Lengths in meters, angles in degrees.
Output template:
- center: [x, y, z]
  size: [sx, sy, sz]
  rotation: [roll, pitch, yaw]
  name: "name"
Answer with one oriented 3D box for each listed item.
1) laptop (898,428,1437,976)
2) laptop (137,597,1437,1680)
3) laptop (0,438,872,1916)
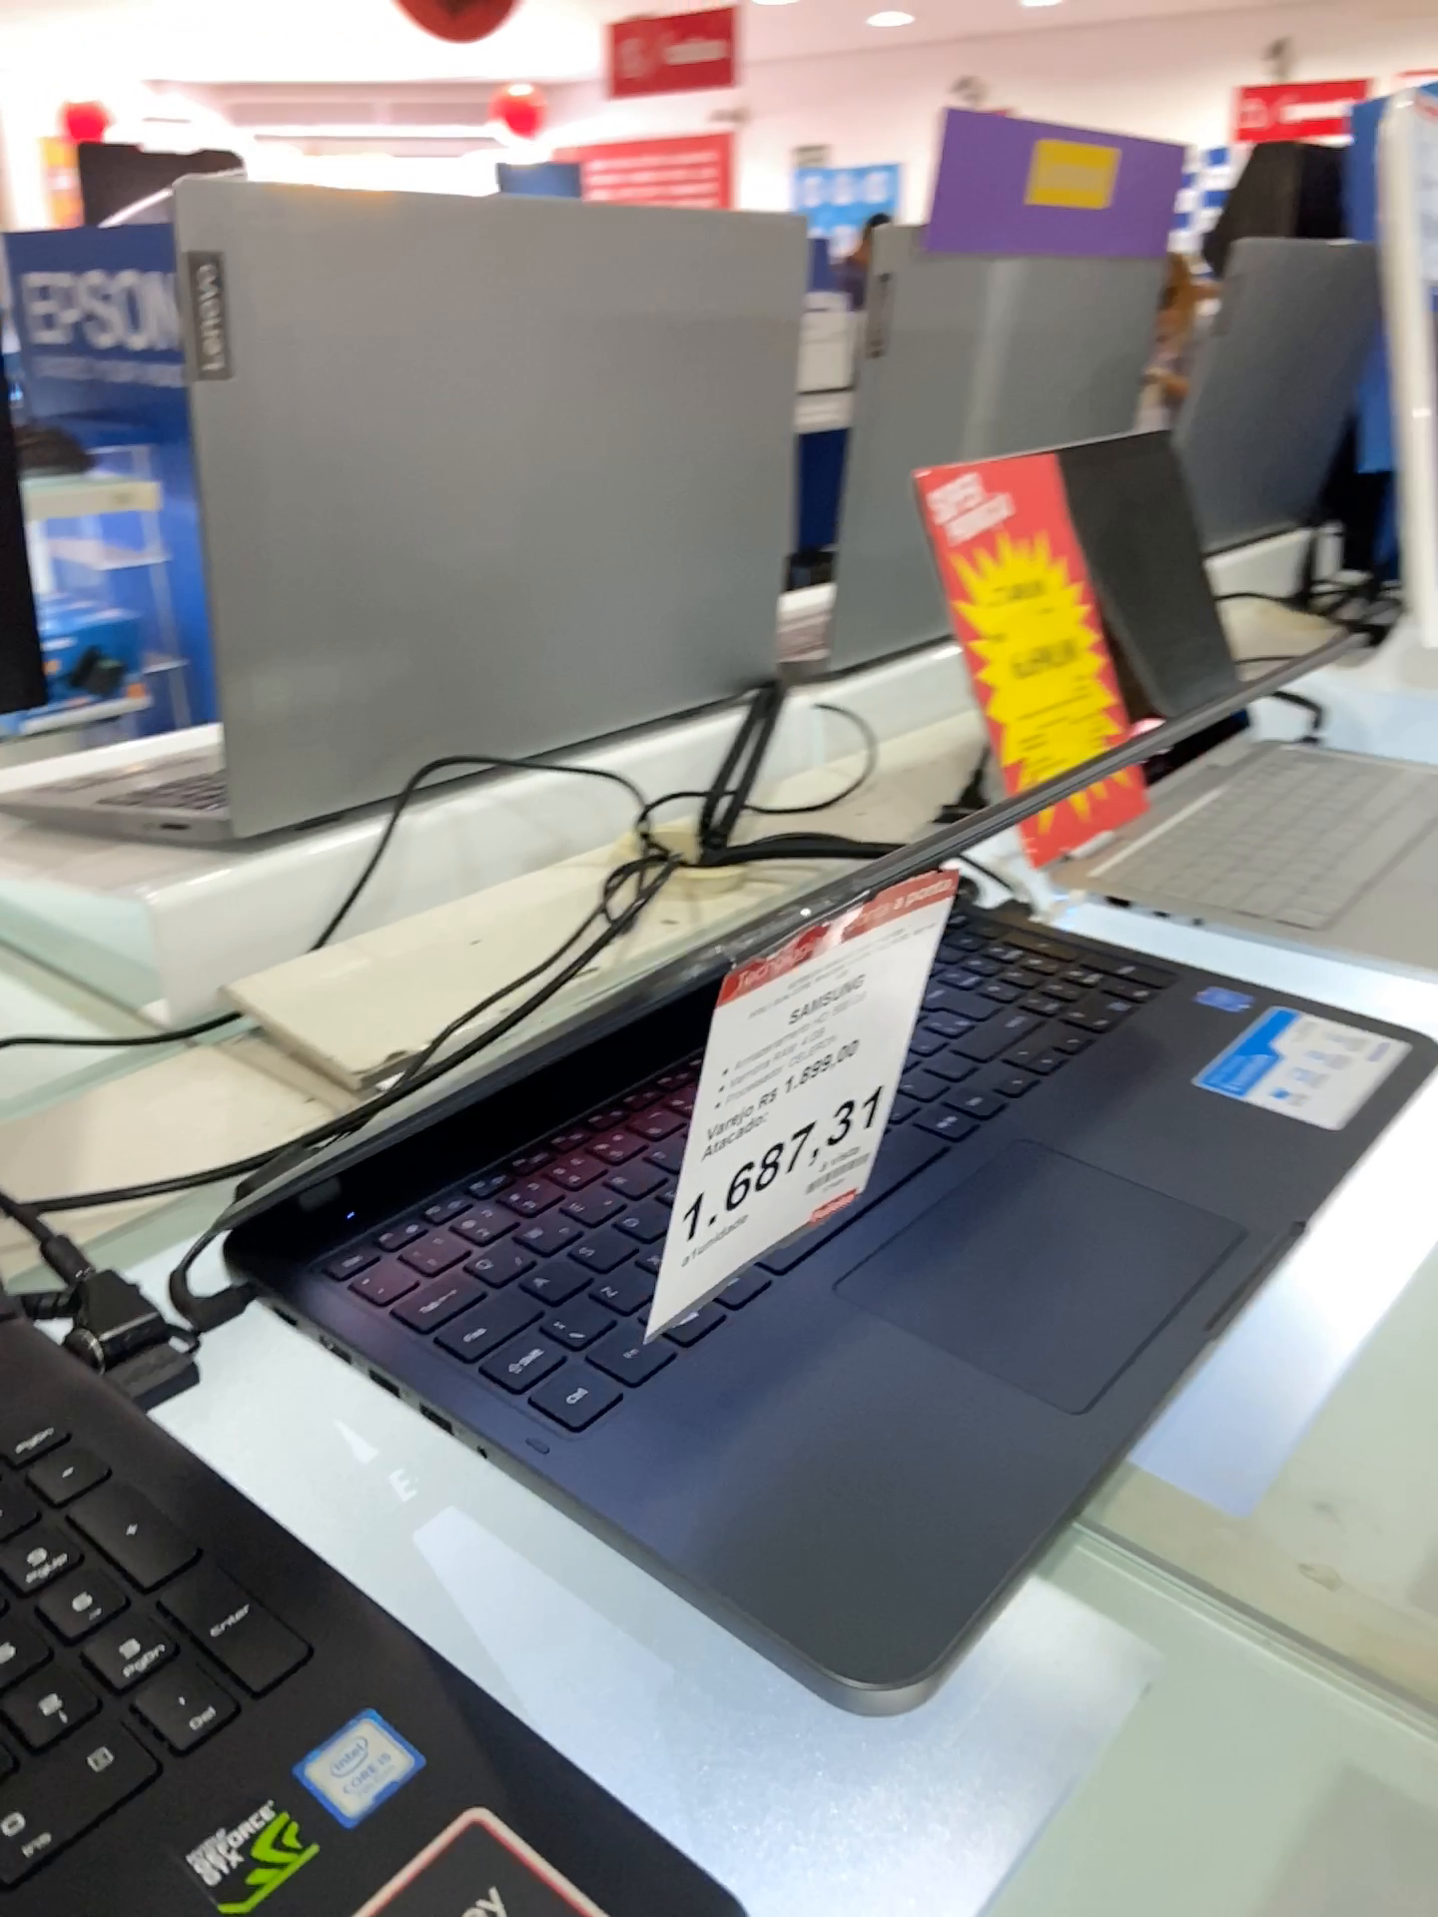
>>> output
- center: [0.299, -0.166, 0.774]
  size: [0.296, 0.177, 0.316]
  rotation: [18, 30, 36]
  name: "laptop"
- center: [0.059, -0.007, 0.467]
  size: [0.235, 0.140, 0.368]
  rotation: [18, 29, 36]
  name: "laptop"
- center: [-0.272, 0.068, 0.172]
  size: [0.371, 0.223, 0.395]
  rotation: [16, 27, 34]
  name: "laptop"
